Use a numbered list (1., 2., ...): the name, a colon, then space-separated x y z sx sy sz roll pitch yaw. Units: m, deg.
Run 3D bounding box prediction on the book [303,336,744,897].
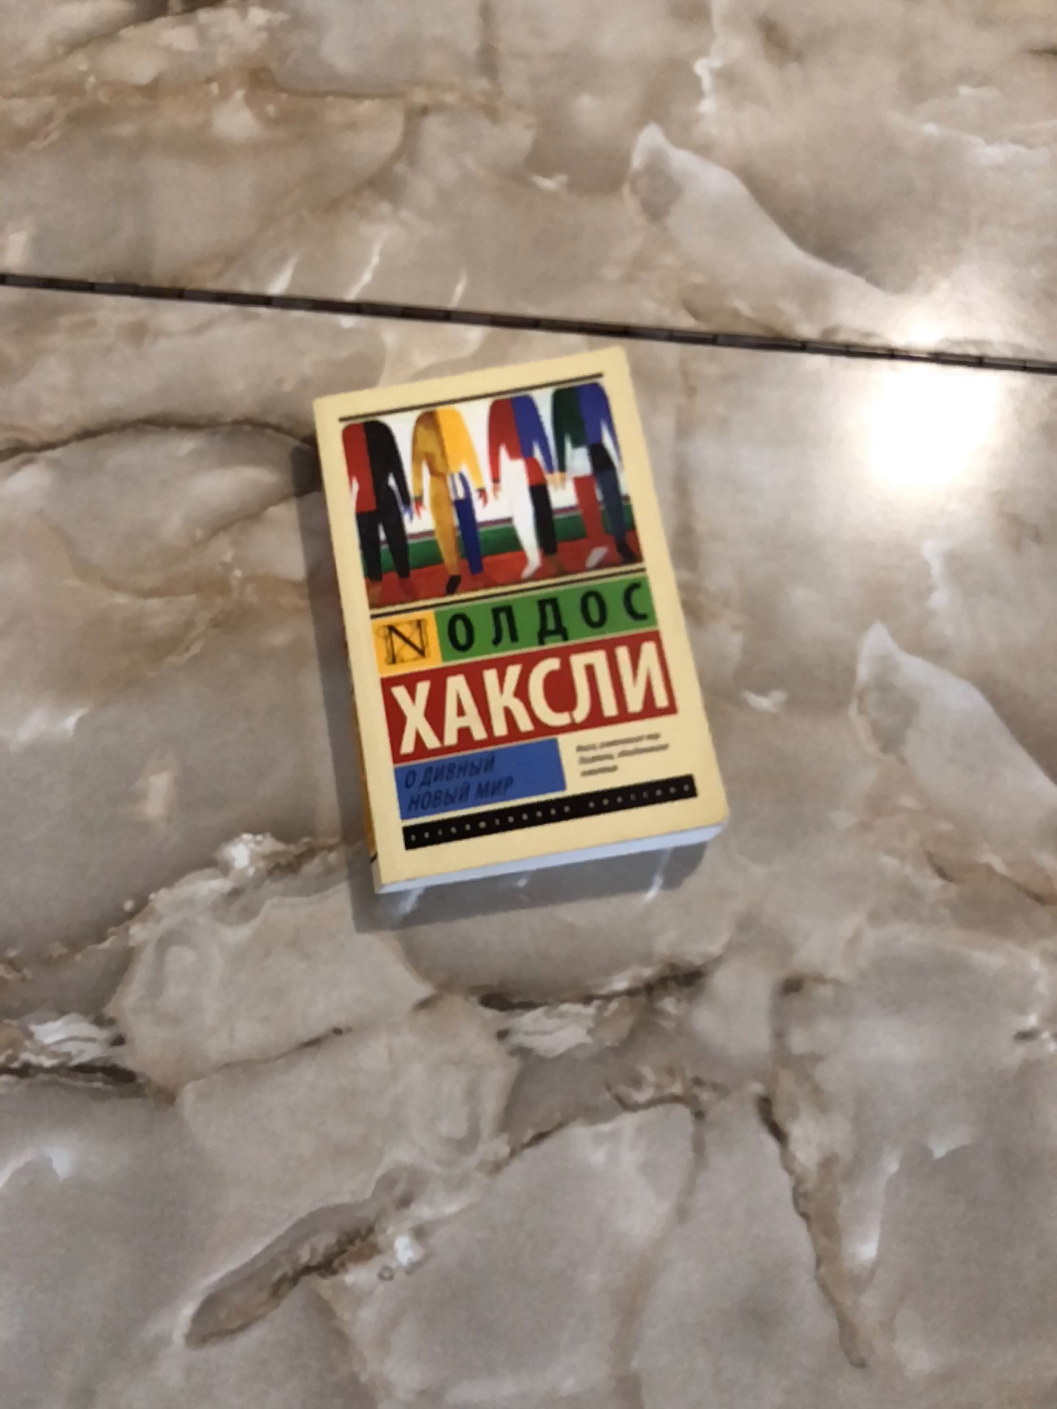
1. book: -0.006 -0.036 0.413 0.120 0.020 0.184 -10 74 -4
